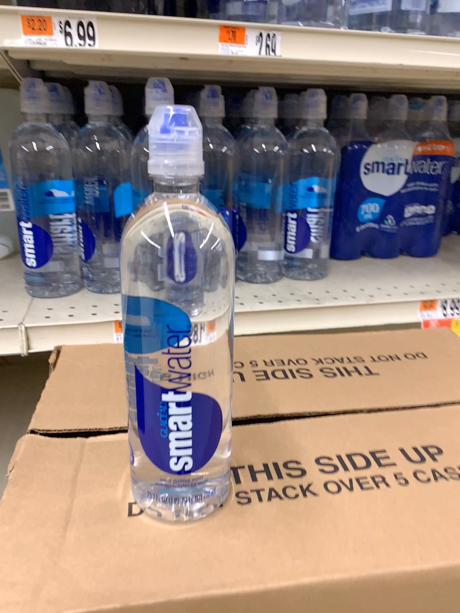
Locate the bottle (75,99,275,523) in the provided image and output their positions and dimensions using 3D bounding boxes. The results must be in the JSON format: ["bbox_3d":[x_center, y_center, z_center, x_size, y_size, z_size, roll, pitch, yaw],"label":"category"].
[{"bbox_3d":[-0.030,0.005,0.302,0.090,0.249,0.090,1,22,0],"label":"bottle"}]
